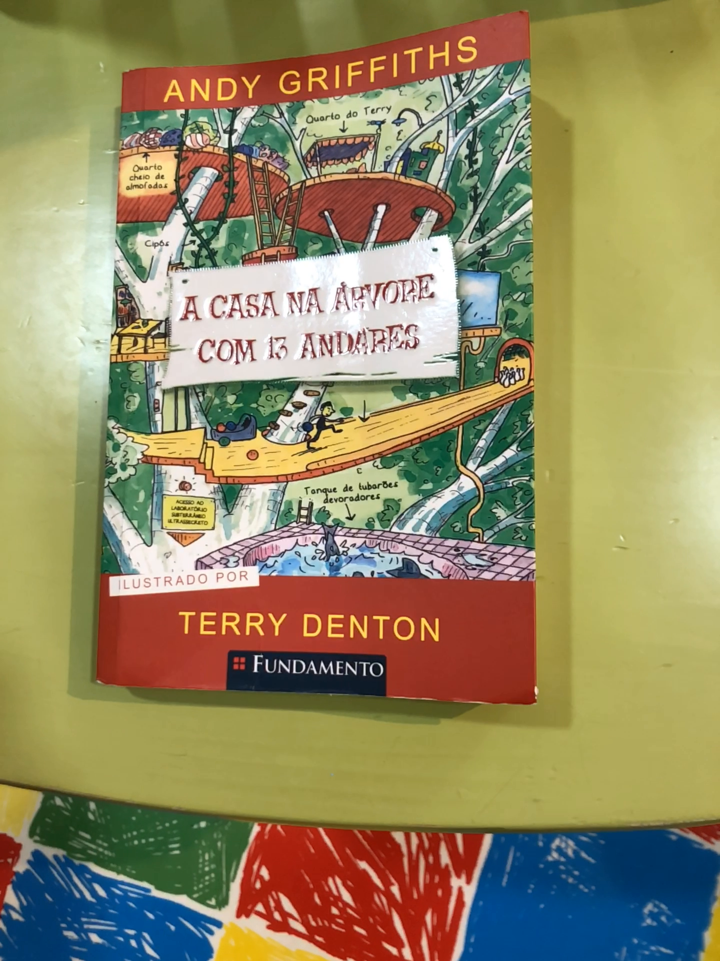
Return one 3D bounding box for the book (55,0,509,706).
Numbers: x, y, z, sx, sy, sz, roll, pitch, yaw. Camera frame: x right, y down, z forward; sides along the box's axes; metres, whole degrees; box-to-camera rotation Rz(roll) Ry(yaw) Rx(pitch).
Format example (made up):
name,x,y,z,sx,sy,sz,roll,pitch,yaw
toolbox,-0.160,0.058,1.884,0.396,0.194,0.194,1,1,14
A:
name,x,y,z,sx,sy,sz,roll,pitch,yaw
book,-0.022,-0.040,0.264,0.137,0.040,0.210,-1,84,11
